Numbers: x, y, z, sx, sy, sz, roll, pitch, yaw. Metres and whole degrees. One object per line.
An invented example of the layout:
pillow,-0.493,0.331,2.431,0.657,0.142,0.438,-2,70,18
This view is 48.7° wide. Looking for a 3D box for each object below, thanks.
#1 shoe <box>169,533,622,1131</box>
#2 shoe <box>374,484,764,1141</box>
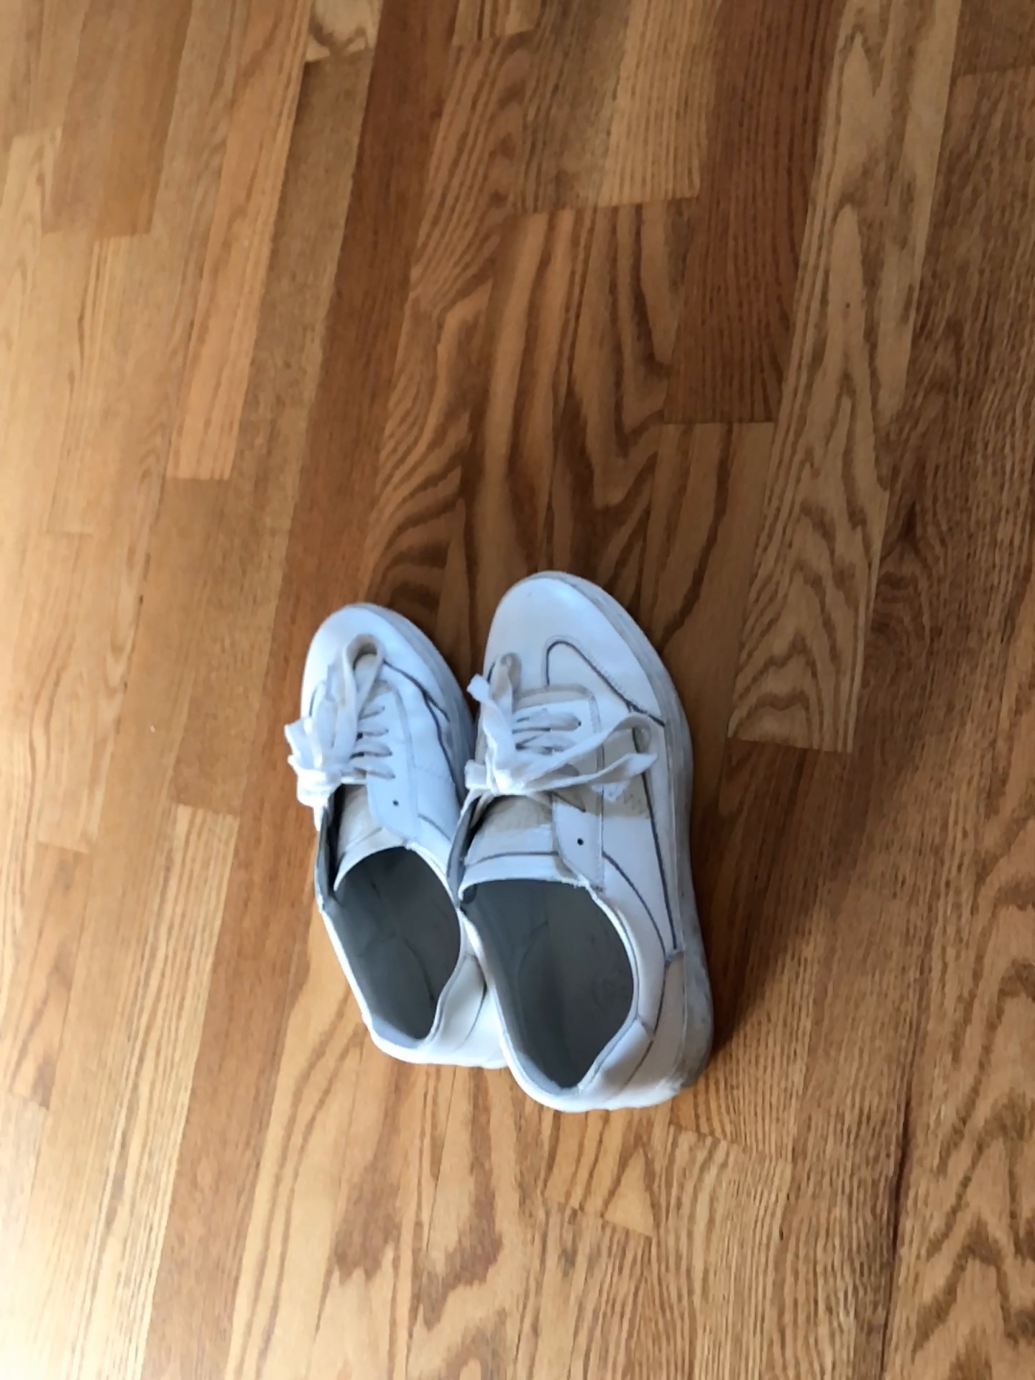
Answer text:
shoe,-0.066,0.066,0.579,0.102,0.104,0.260,-34,67,21
shoe,0.022,0.057,0.527,0.103,0.107,0.260,-16,74,27
